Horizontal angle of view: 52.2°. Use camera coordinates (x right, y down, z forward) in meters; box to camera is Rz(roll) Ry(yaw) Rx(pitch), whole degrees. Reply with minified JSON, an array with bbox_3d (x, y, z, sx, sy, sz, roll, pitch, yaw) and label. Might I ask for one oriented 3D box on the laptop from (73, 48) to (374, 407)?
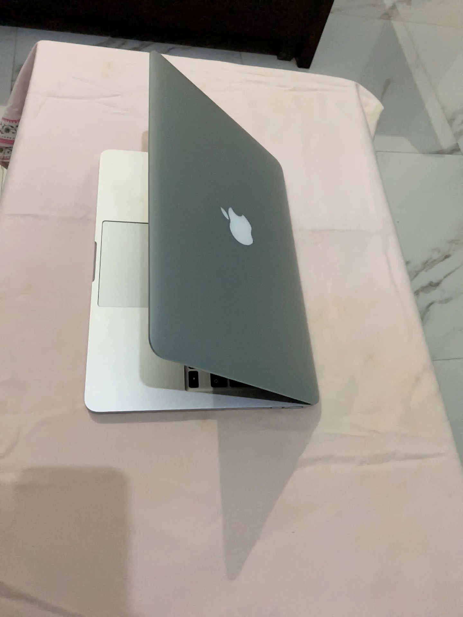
[{"bbox_3d":[-0.025,-0.075,0.448,0.208,0.139,0.297,0,63,-11],"label":"laptop"}]
